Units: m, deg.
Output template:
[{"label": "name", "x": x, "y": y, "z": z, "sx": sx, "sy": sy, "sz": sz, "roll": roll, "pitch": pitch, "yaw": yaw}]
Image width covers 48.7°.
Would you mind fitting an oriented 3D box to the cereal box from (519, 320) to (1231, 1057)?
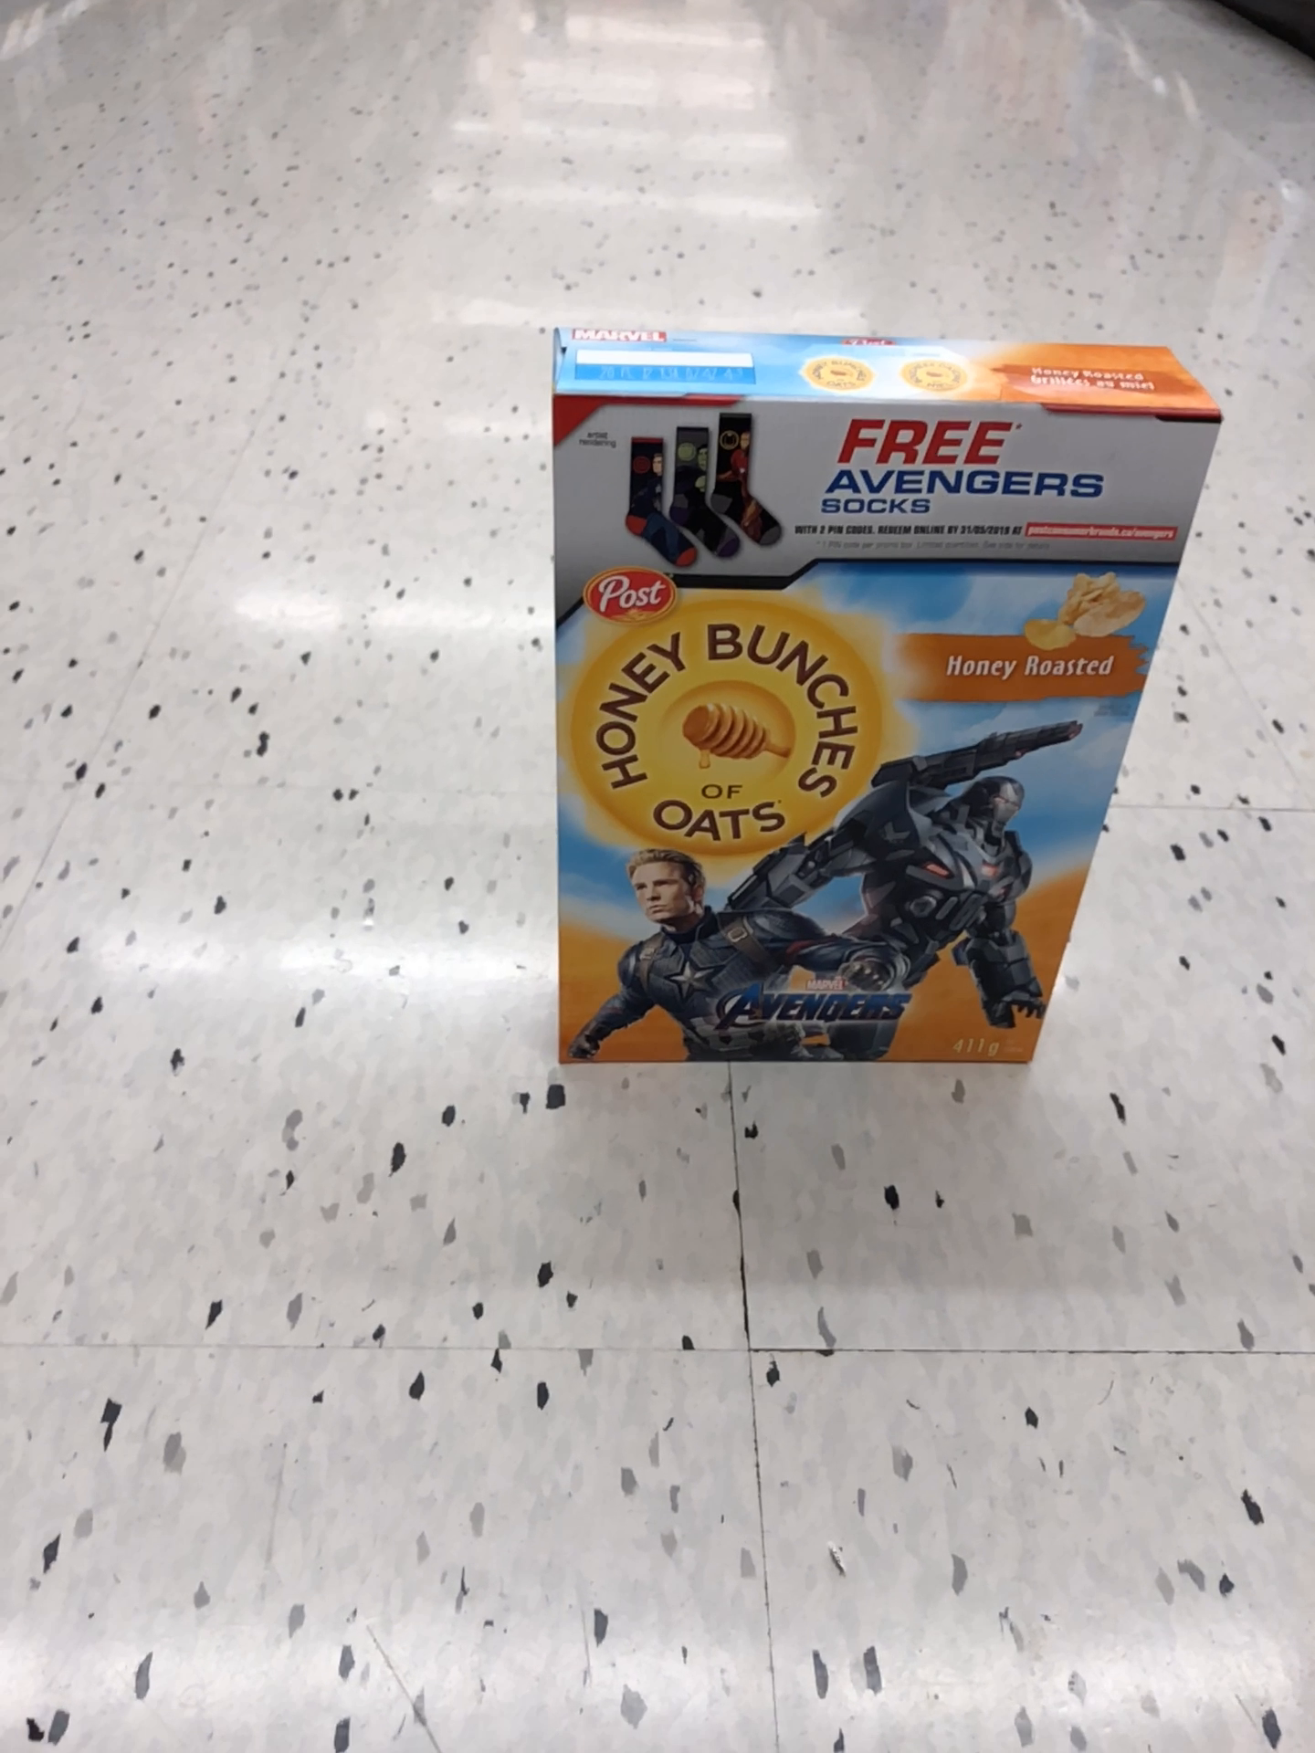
[{"label": "cereal box", "x": 0.055, "y": -0.051, "z": 0.506, "sx": 0.200, "sy": 0.258, "sz": 0.060, "roll": 0, "pitch": 39, "yaw": -4}]
